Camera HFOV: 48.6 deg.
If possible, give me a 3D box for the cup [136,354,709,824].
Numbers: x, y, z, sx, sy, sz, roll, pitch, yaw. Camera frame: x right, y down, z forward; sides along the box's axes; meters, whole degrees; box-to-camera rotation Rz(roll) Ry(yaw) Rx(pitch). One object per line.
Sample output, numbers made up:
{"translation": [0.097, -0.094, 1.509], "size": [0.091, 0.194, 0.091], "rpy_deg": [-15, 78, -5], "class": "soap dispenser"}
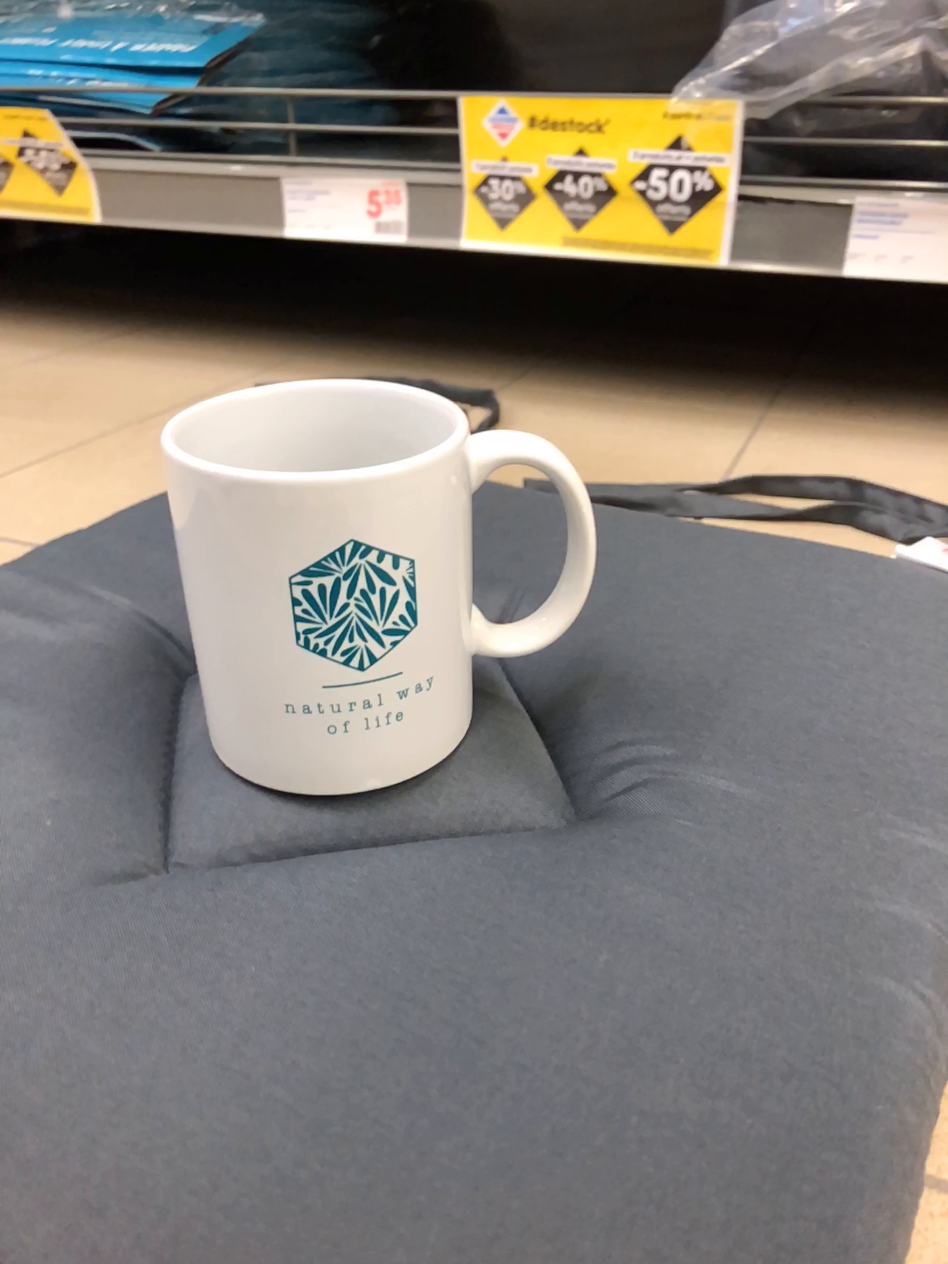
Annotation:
{"translation": [-0.019, -0.019, 0.293], "size": [0.130, 0.089, 0.090], "rpy_deg": [-6, 28, -13], "class": "cup"}
